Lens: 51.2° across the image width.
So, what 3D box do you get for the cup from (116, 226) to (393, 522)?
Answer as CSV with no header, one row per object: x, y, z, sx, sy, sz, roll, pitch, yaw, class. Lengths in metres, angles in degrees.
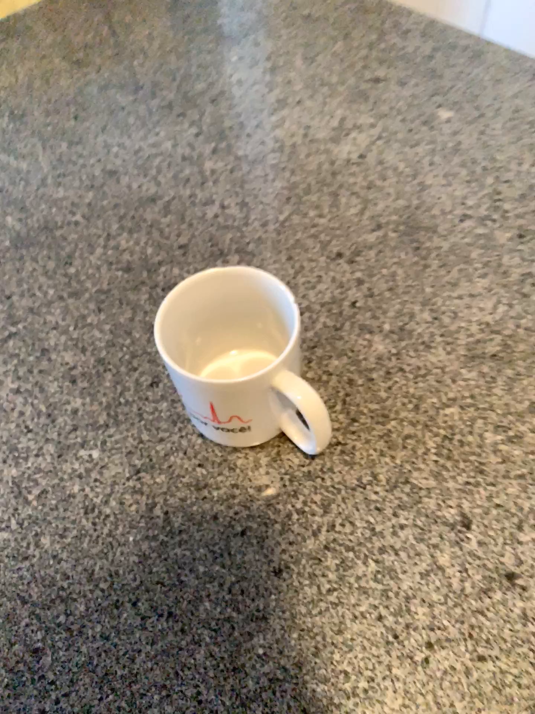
-0.006,0.011,0.338,0.090,0.100,0.120,-39,62,-19,cup

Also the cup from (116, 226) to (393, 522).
-0.006,0.011,0.338,0.090,0.100,0.120,-39,62,-19,cup
